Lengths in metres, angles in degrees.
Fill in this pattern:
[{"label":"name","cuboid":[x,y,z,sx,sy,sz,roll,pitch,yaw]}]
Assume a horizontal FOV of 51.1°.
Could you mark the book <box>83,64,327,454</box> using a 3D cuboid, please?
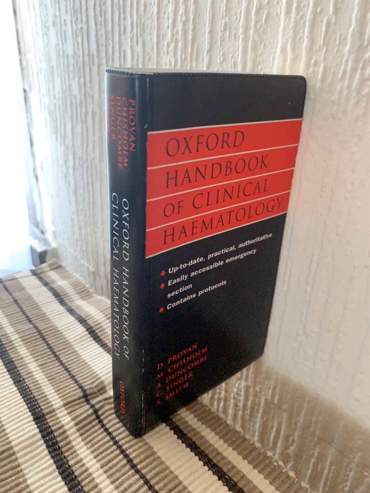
[{"label":"book","cuboid":[0.012,0.004,0.219,0.120,0.188,0.040,-20,34,-40]}]
